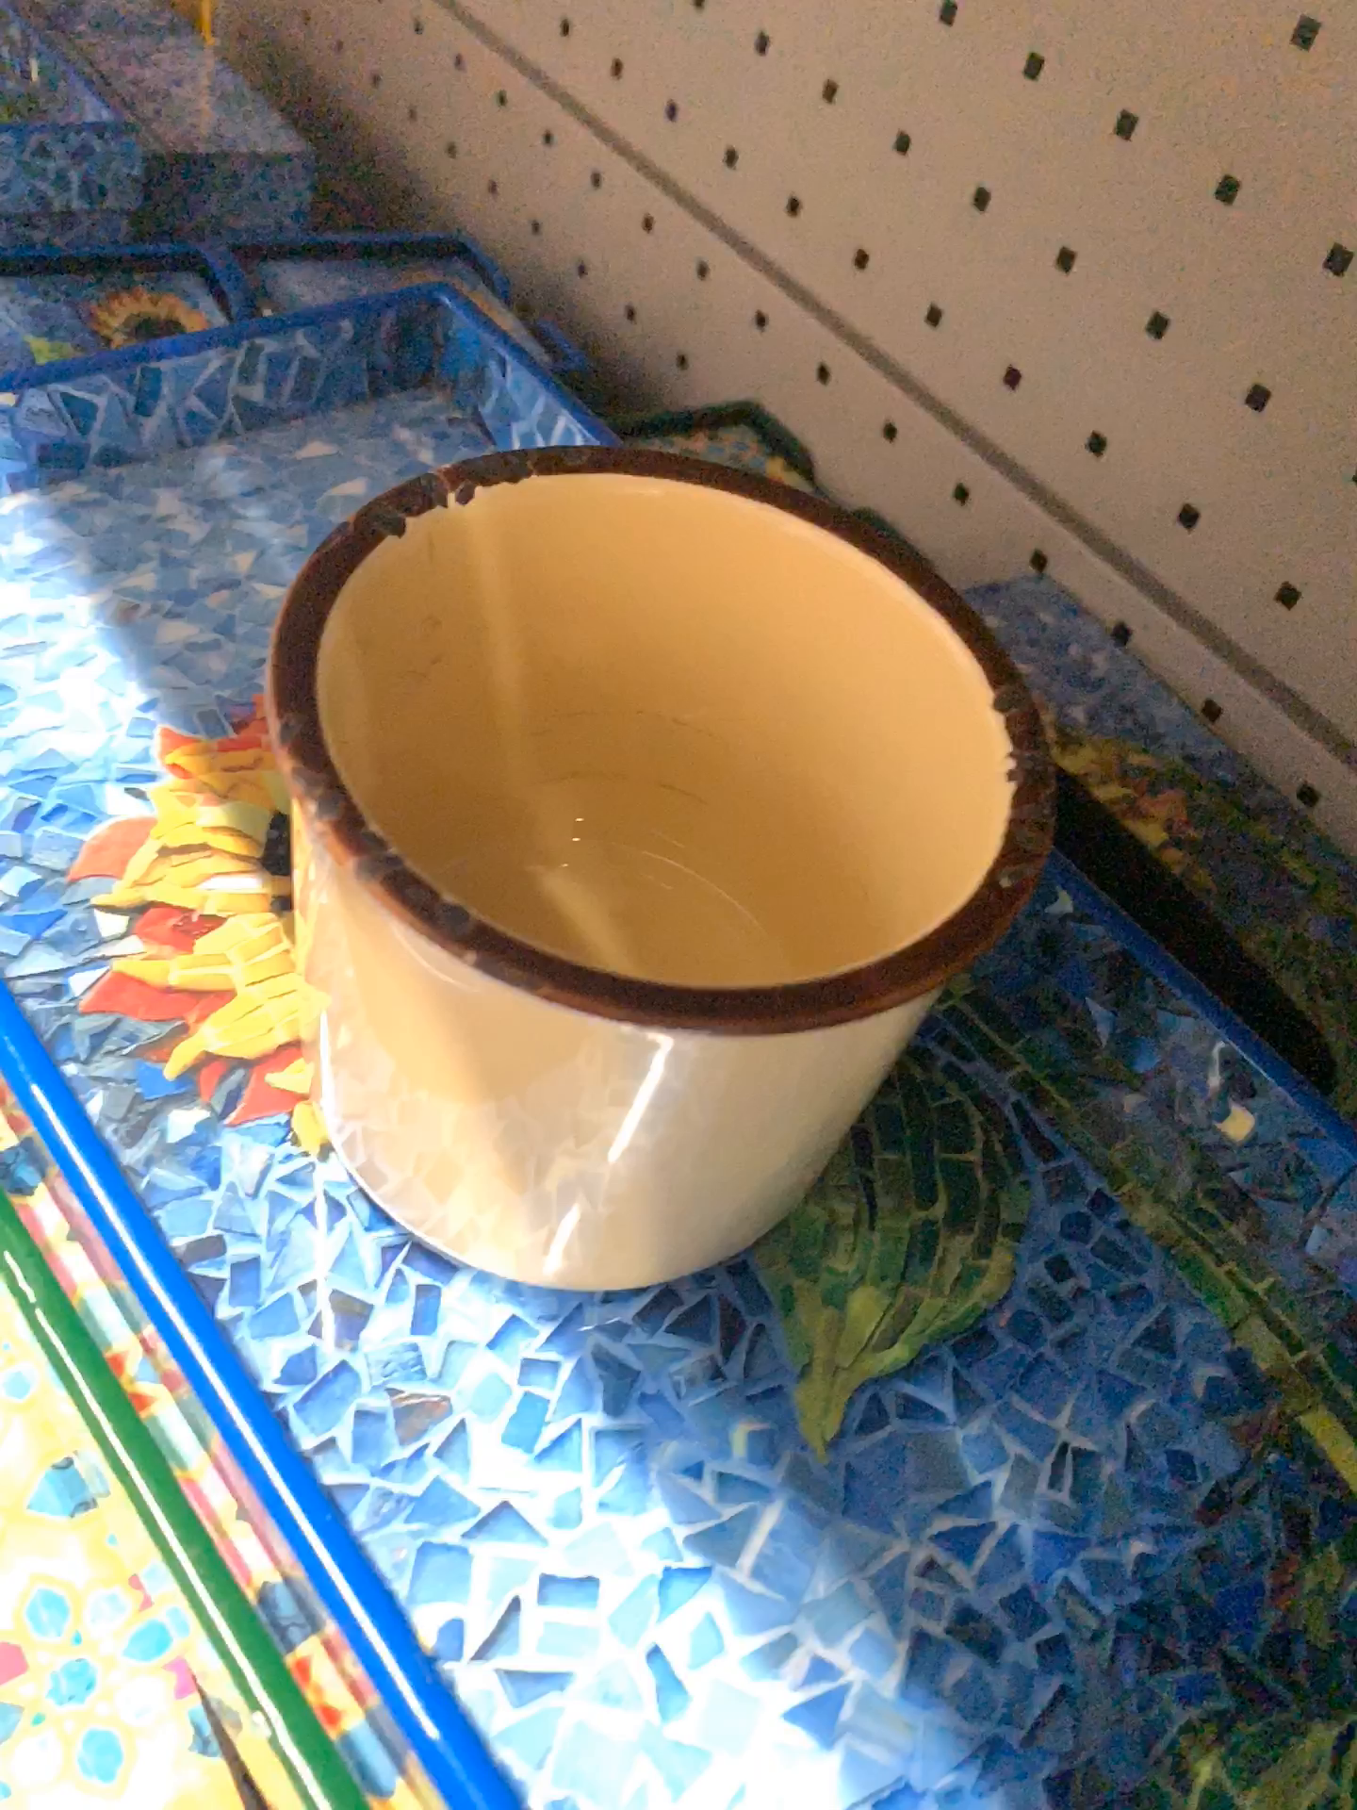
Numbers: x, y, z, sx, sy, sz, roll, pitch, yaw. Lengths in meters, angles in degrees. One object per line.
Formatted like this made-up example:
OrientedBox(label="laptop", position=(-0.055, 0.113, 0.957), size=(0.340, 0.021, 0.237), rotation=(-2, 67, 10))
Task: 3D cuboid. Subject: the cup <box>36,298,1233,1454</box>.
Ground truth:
OrientedBox(label="cup", position=(-0.013, -0.013, 0.183), size=(0.090, 0.070, 0.110), rotation=(-22, 60, -32))
